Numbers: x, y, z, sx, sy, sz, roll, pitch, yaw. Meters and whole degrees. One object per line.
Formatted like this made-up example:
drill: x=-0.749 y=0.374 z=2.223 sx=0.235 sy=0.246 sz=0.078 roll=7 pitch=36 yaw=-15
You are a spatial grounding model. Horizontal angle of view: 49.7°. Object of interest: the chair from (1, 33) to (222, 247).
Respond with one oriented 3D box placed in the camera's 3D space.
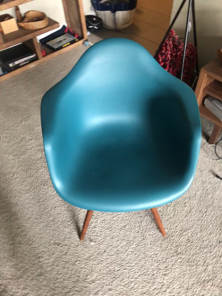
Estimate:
chair: x=0.021 y=0.009 z=1.090 sx=0.580 sy=0.785 sz=0.564 roll=-2 pitch=48 yaw=1
